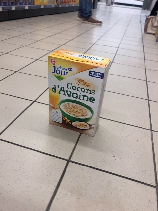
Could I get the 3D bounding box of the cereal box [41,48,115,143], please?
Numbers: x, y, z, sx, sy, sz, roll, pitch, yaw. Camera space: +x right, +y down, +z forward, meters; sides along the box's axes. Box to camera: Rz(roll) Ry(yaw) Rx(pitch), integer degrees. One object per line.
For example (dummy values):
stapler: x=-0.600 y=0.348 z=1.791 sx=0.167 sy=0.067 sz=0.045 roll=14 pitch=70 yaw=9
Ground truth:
cereal box: x=-0.011 y=-0.026 z=0.463 sx=0.160 sy=0.209 sz=0.070 roll=16 pitch=31 yaw=14
